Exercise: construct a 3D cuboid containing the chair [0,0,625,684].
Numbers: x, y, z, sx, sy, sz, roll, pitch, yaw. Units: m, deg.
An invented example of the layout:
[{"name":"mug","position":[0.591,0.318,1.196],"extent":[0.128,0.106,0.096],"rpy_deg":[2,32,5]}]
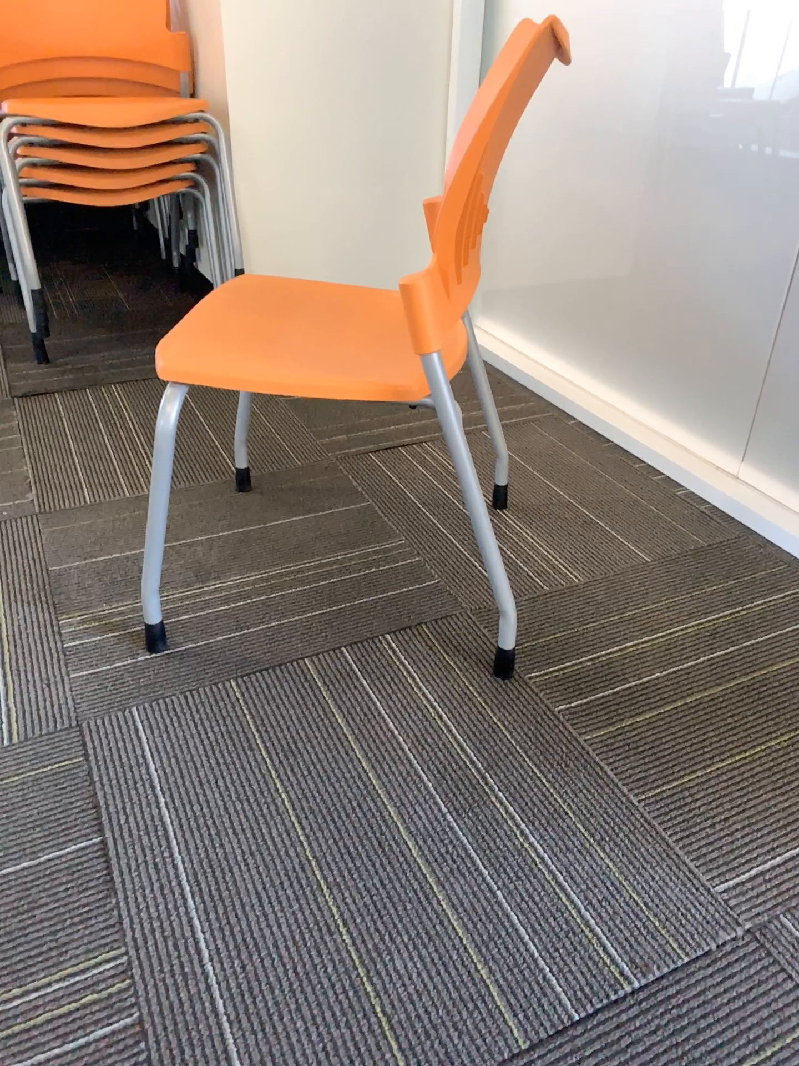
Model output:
[{"name":"chair","position":[-0.072,-0.339,1.253],"extent":[0.580,0.805,0.714],"rpy_deg":[4,32,3]}]
